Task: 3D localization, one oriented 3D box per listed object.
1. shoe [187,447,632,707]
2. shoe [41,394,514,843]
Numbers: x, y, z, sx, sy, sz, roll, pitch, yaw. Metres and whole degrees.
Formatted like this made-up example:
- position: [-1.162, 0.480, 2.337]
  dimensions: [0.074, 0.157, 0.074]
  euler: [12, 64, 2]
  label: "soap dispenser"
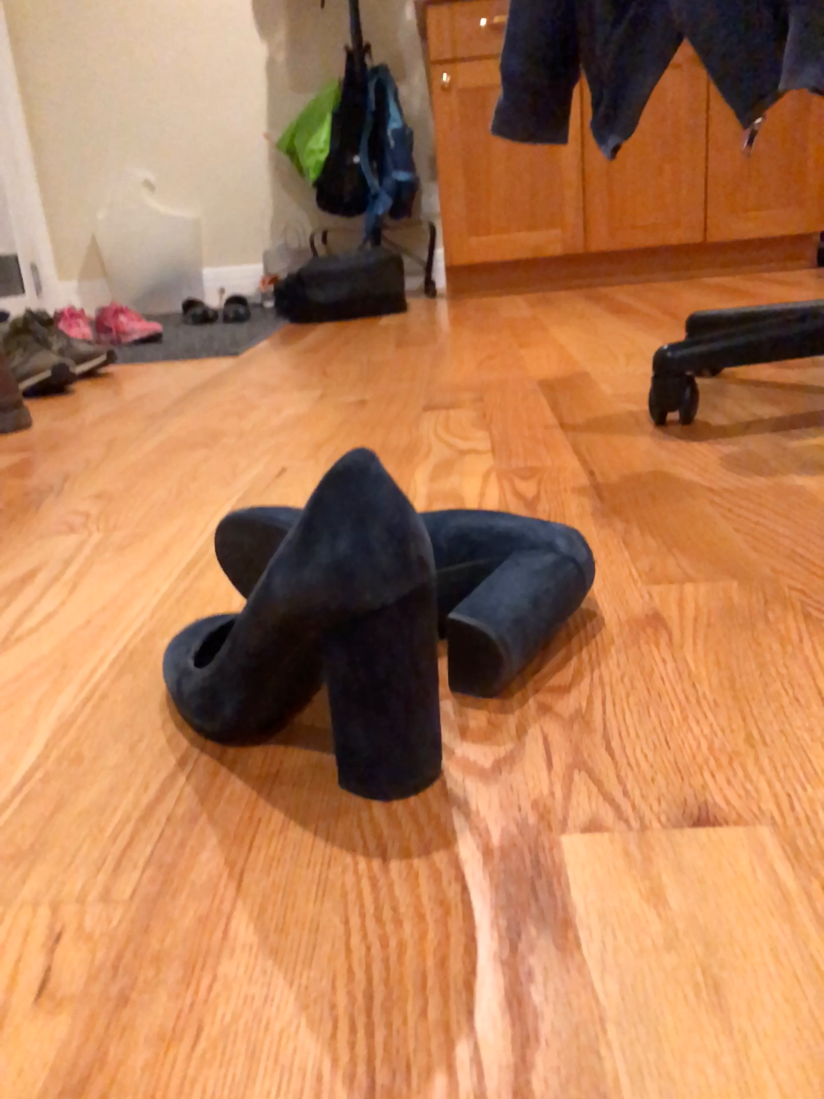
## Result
- position: [0.004, 0.002, 0.527]
  dimensions: [0.204, 0.080, 0.153]
  euler: [6, 23, 30]
  label: "shoe"
- position: [-0.070, 0.013, 0.428]
  dimensions: [0.226, 0.146, 0.080]
  euler: [13, 26, 42]
  label: "shoe"
